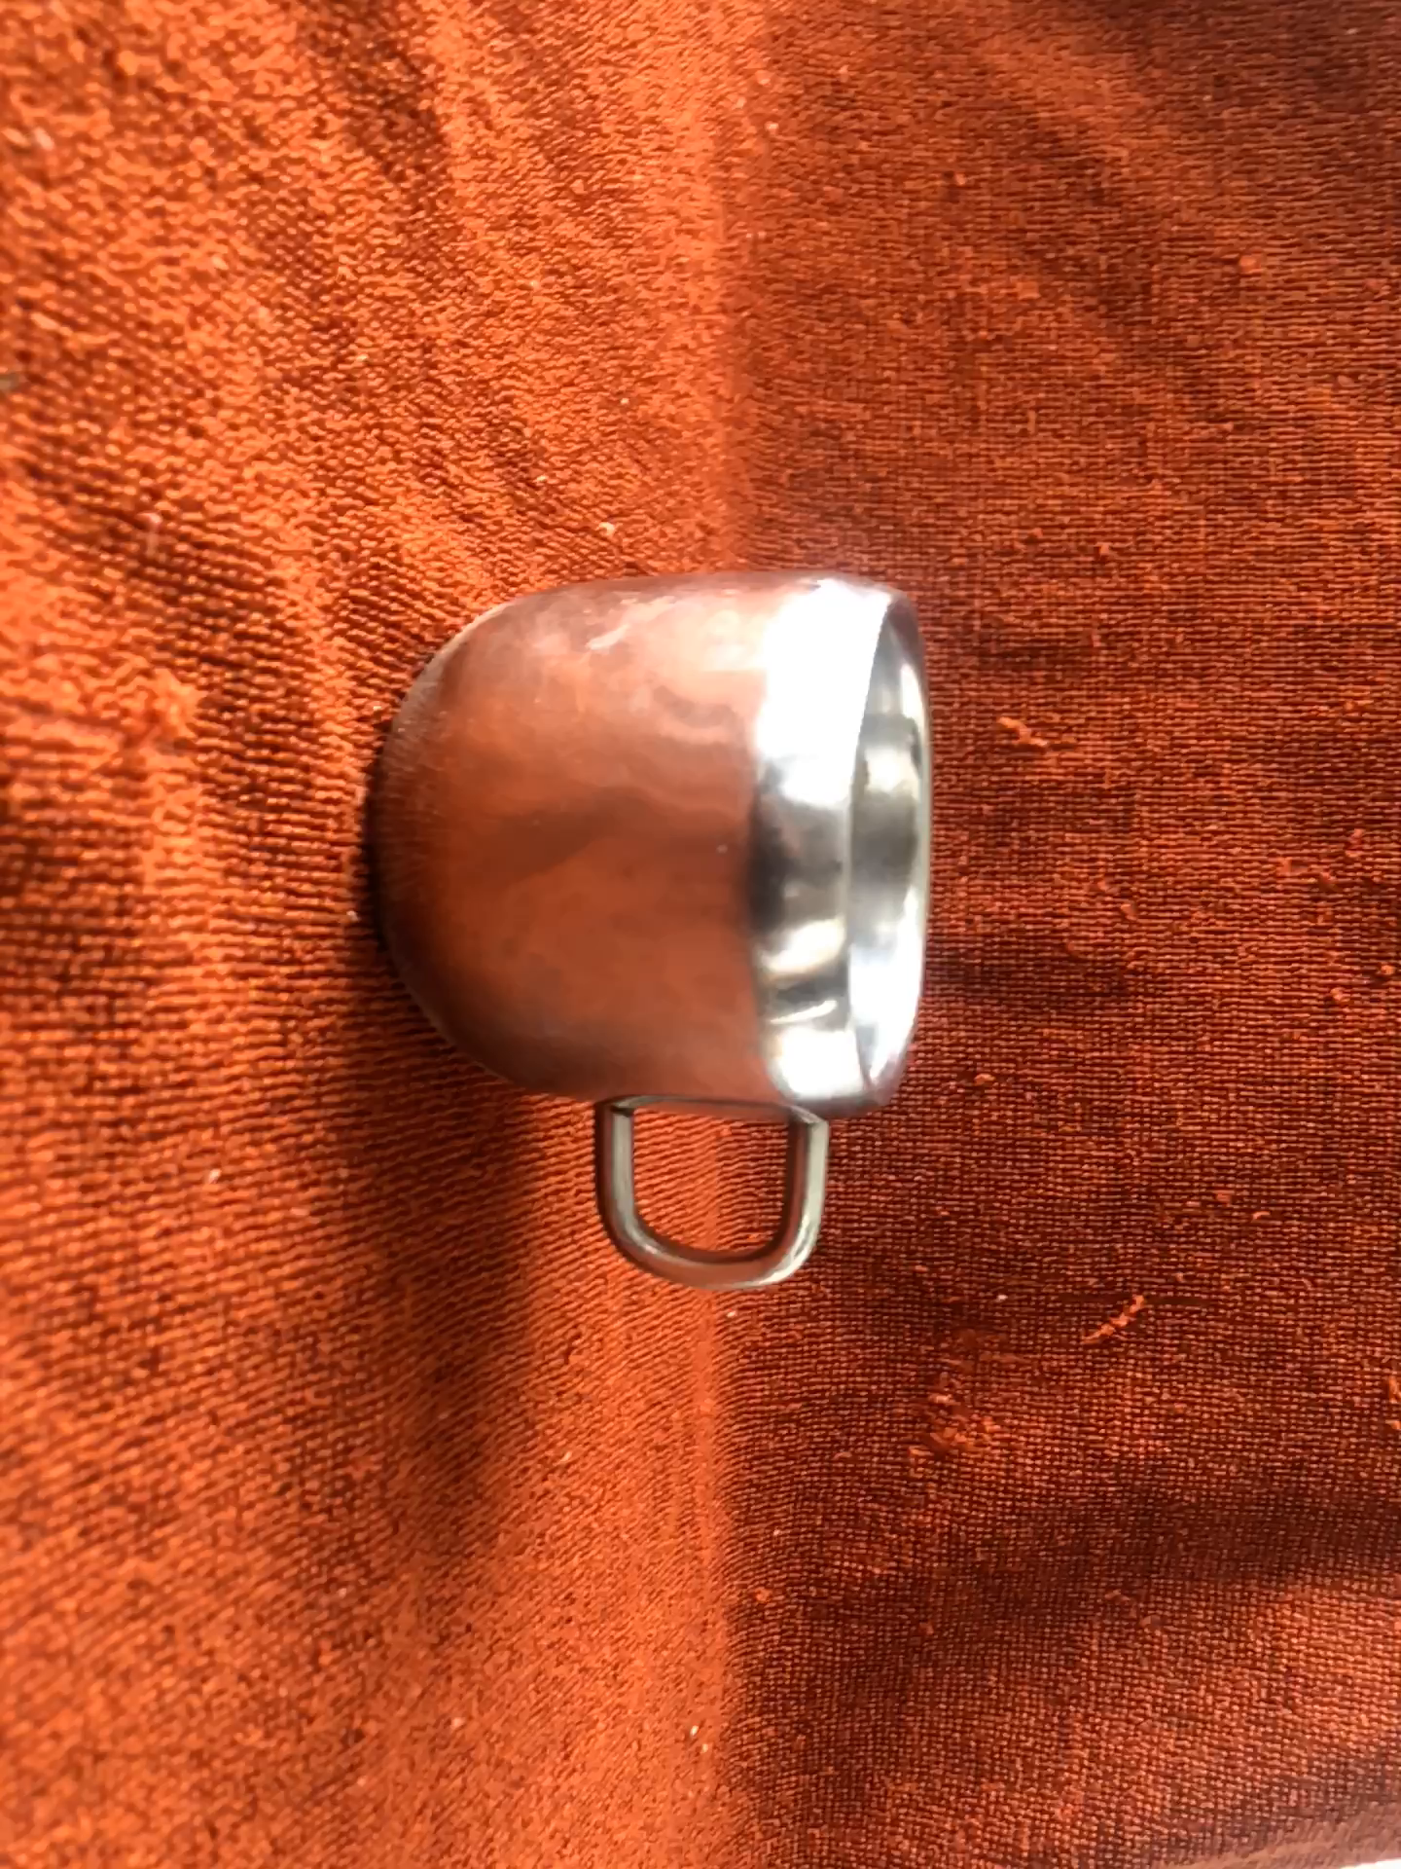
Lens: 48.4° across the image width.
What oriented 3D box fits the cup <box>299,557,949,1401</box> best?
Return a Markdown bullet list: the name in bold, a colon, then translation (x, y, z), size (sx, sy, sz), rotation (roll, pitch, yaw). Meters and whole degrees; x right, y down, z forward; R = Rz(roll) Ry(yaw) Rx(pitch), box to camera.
- **cup**: translation (-0.003, 0.002, 0.205), size (0.060, 0.060, 0.090), rotation (-54, 142, -61)
